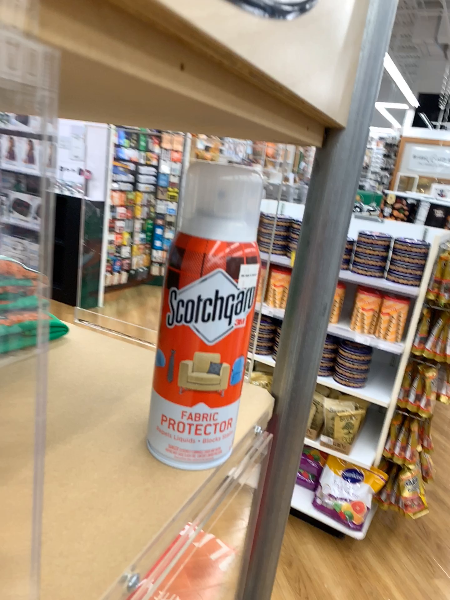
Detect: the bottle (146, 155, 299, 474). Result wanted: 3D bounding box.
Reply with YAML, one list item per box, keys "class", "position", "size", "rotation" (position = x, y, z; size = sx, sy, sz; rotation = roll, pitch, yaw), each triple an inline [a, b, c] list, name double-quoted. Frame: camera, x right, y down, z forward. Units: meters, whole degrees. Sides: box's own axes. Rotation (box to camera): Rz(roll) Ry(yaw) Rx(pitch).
- class: "bottle"
  position: [-0.010, 0.011, 0.321]
  size: [0.069, 0.206, 0.067]
  rotation: [8, 15, -2]
